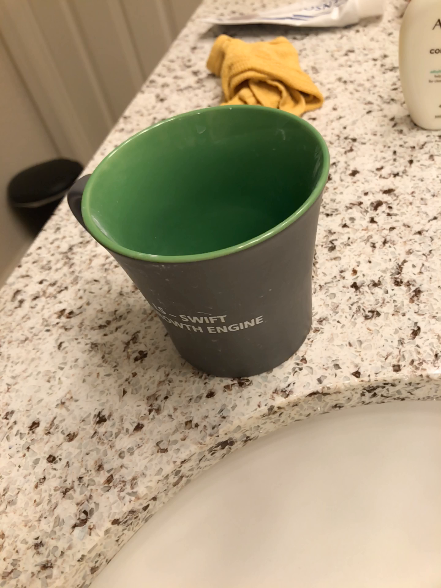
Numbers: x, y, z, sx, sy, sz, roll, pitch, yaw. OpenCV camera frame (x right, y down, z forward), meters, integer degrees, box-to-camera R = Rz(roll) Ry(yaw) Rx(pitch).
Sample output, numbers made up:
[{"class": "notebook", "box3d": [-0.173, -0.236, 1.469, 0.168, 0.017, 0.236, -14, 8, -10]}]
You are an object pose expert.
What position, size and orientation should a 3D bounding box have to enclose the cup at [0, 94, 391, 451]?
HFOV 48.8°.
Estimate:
[{"class": "cup", "box3d": [-0.005, -0.016, 0.227, 0.140, 0.109, 0.101, 10, 52, 22]}]
